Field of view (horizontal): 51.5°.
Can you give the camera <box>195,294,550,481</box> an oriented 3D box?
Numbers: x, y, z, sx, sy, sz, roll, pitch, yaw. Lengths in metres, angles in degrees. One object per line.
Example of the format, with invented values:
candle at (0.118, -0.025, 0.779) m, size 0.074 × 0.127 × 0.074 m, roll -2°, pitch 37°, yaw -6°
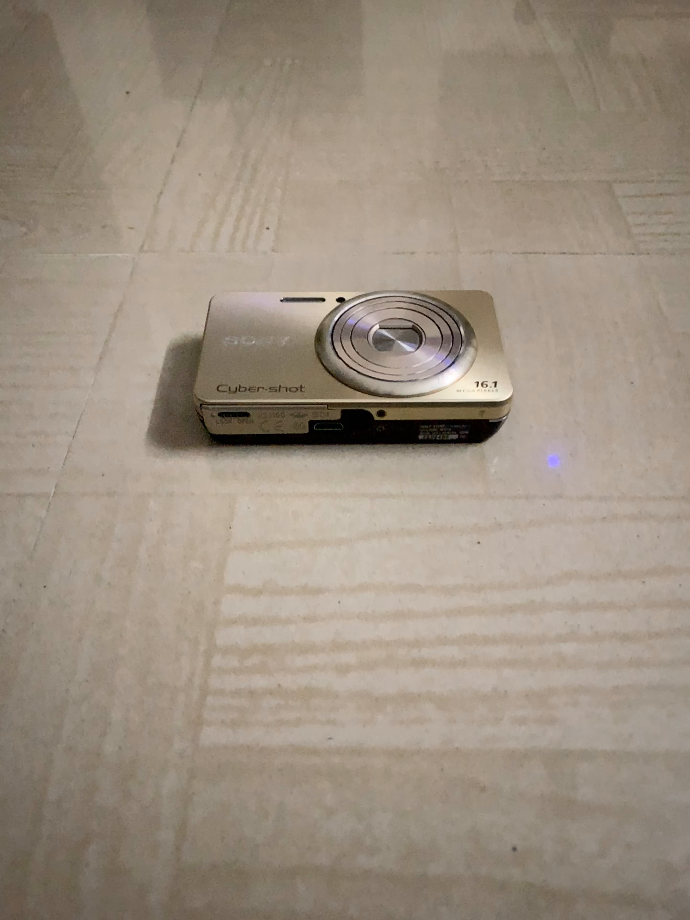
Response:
camera at (0.009, -0.024, 0.221) m, size 0.097 × 0.019 × 0.057 m, roll 3°, pitch 49°, yaw 3°
